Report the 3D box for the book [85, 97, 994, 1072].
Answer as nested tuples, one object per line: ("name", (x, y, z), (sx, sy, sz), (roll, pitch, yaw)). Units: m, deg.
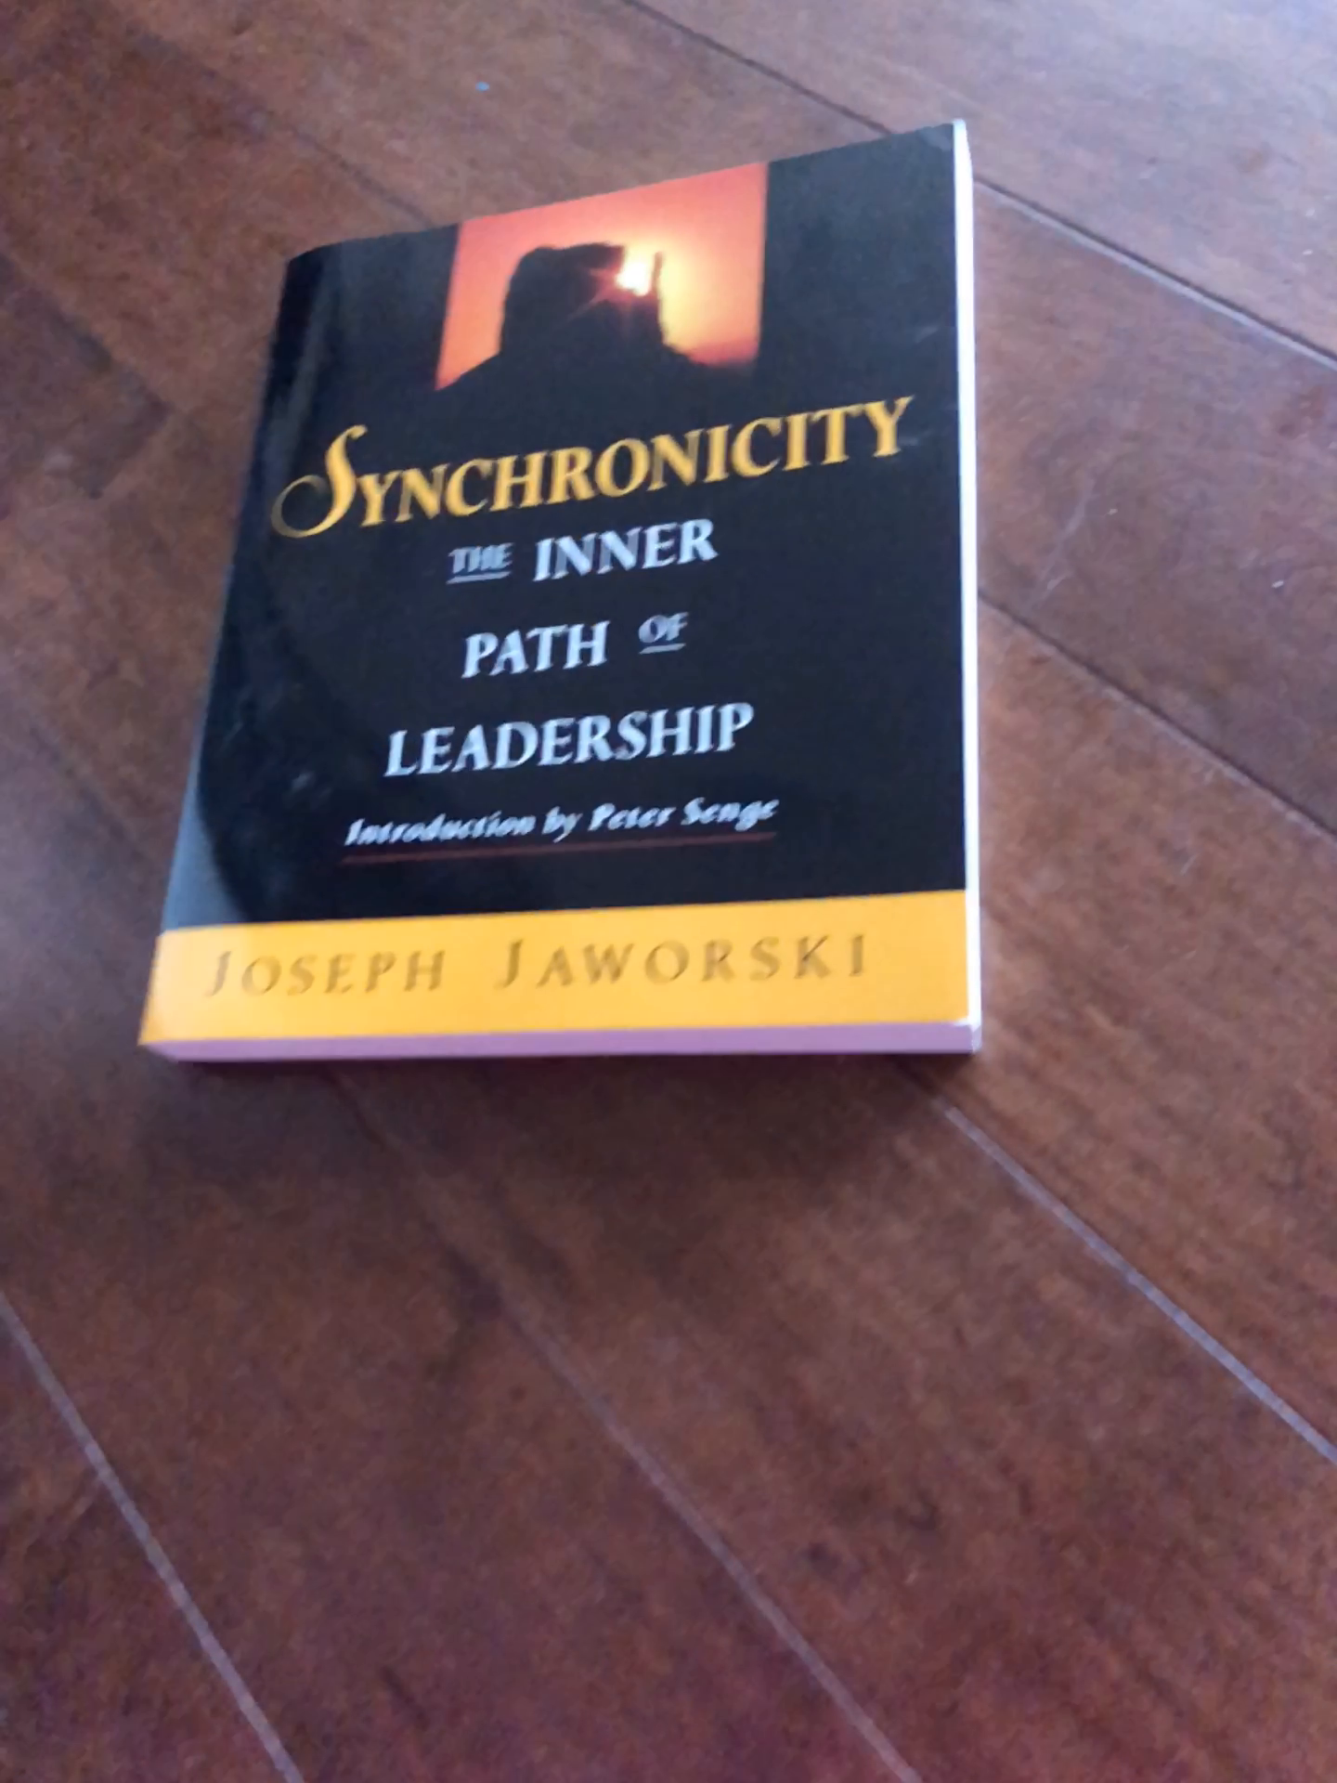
("book", (-0.024, -0.071, 0.347), (0.190, 0.030, 0.222), (-3, 68, 17))
